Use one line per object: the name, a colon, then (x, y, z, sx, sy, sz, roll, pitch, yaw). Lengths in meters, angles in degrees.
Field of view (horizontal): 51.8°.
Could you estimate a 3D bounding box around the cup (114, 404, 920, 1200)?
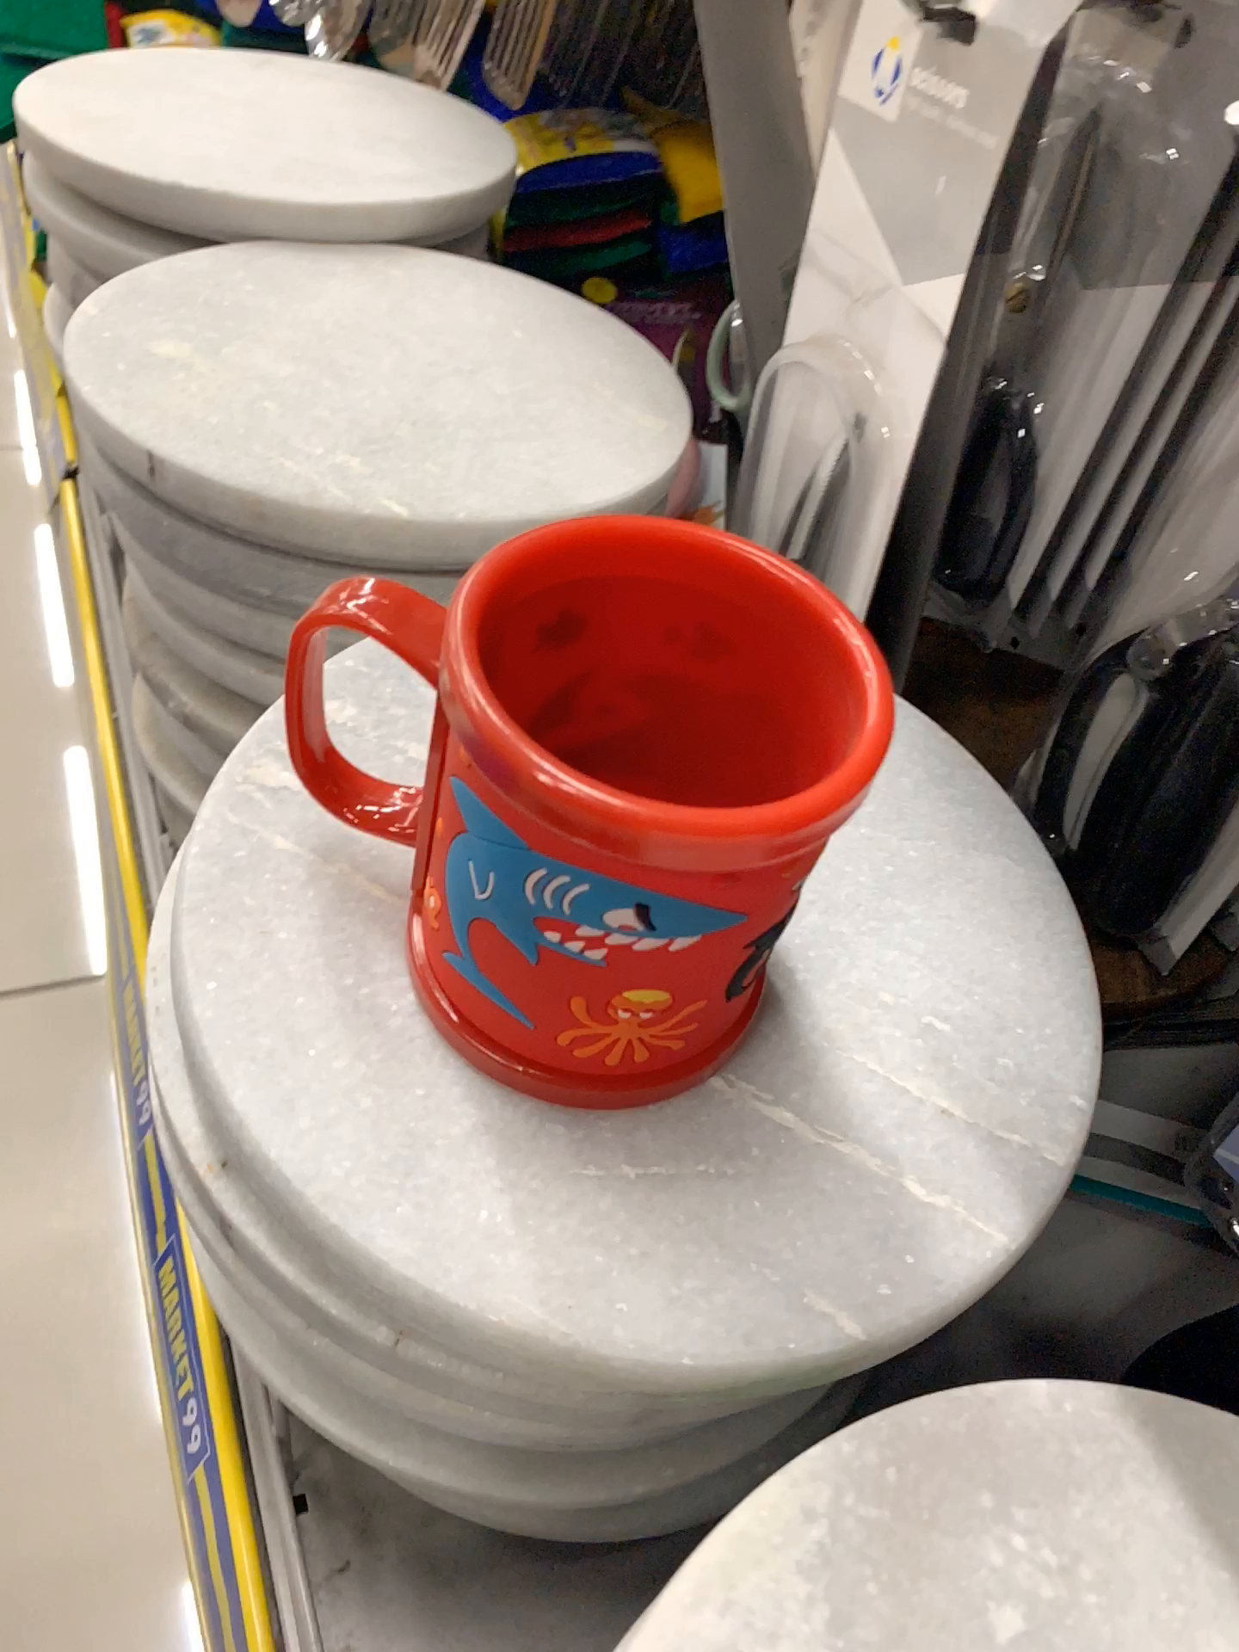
cup: (-0.020, -0.005, 0.259, 0.120, 0.100, 0.080, 20, 45, 7)
